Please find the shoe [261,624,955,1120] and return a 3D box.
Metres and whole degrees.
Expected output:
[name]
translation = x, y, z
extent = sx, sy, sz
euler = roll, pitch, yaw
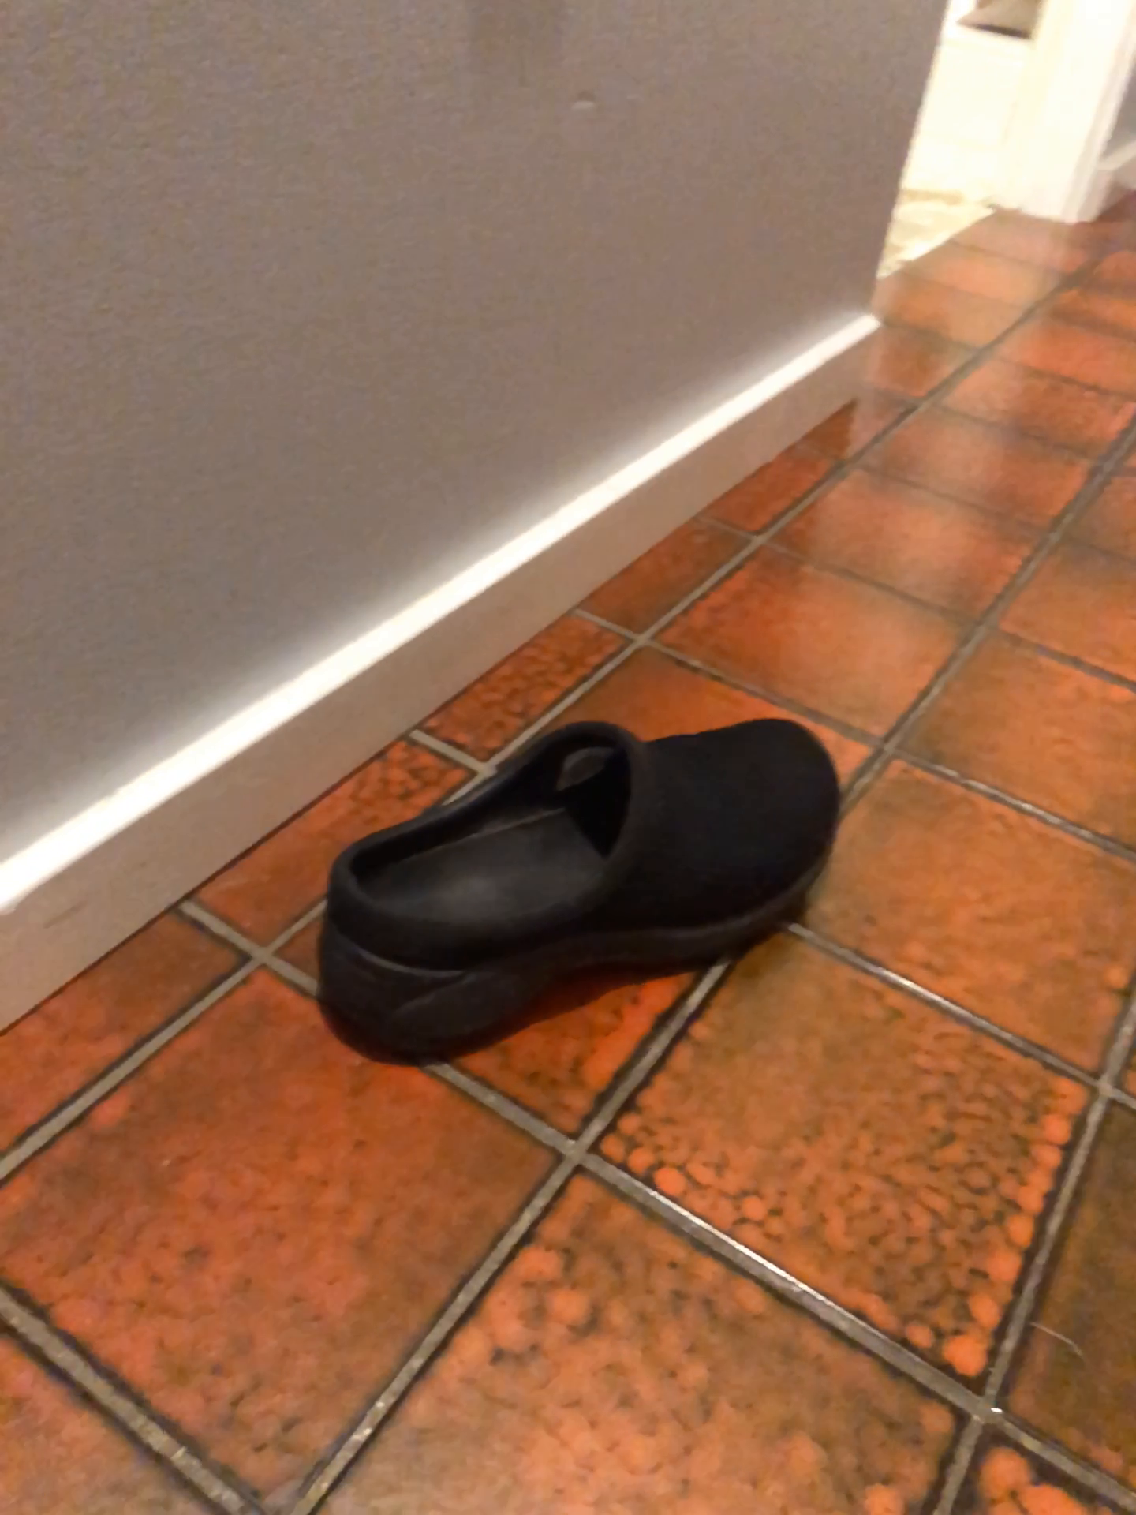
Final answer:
[shoe]
translation = 0.018, 0.032, 0.499
extent = 0.250, 0.080, 0.100
euler = -17, 45, -28
